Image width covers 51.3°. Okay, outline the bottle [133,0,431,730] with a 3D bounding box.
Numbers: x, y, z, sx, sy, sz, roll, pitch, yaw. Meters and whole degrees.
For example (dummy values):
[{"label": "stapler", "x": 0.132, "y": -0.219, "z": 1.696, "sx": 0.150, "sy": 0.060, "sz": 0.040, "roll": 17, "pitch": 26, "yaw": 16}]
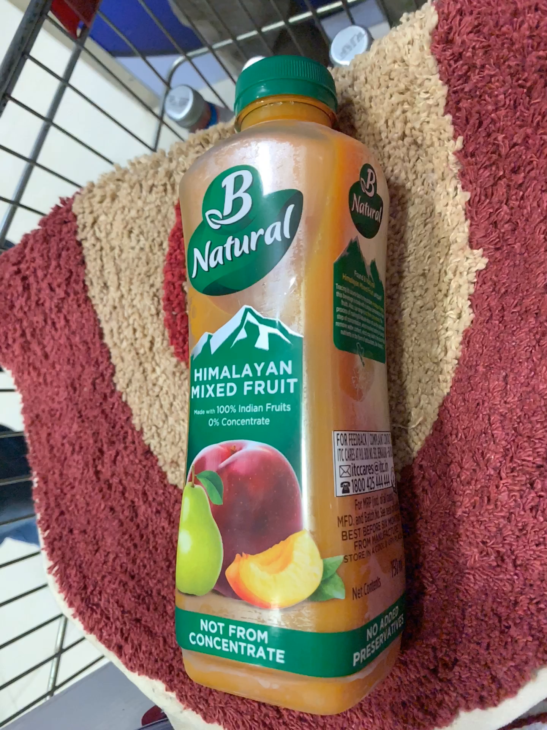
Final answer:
[{"label": "bottle", "x": 0.010, "y": -0.010, "z": 0.201, "sx": 0.070, "sy": 0.070, "sz": 0.230, "roll": -3, "pitch": 79, "yaw": 29}]
